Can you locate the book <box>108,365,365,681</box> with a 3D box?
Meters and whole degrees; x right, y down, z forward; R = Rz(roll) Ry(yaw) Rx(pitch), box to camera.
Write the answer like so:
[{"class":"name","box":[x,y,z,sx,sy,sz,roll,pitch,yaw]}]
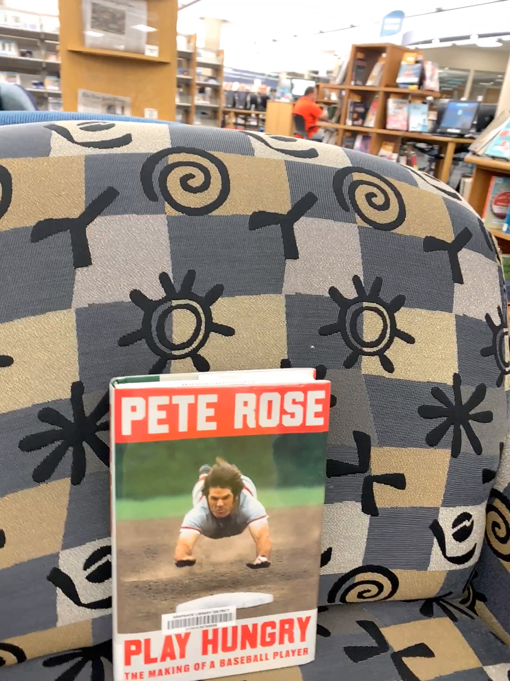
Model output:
[{"class":"book","box":[-0.018,0.147,0.417,0.190,0.250,0.040,0,10,-14]}]
